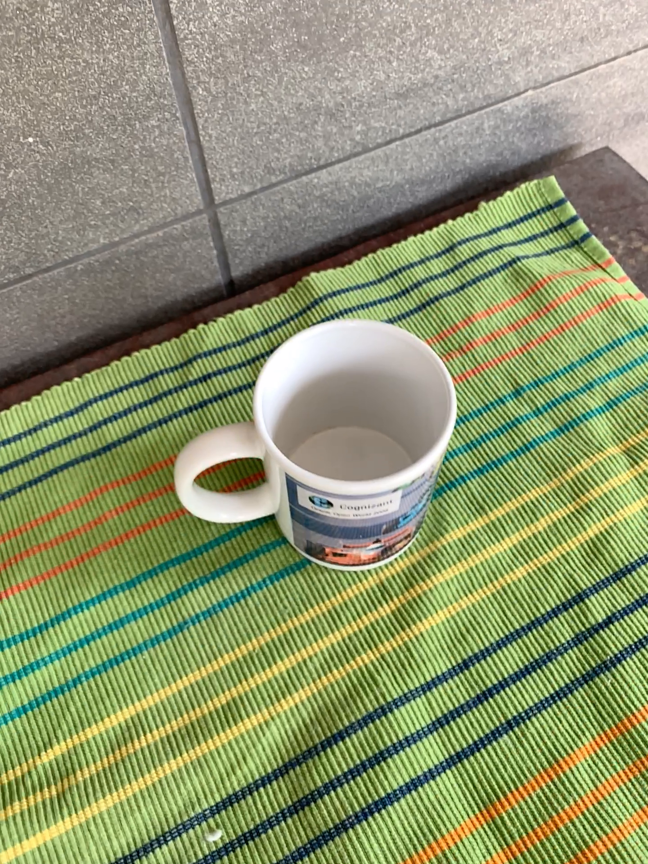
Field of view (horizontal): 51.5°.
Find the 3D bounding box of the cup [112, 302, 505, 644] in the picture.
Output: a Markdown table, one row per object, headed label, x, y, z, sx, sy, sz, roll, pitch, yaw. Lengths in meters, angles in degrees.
| label | x | y | z | sx | sy | sz | roll | pitch | yaw |
| --- | --- | --- | --- | --- | --- | --- | --- | --- | --- |
| cup | -0.008 | 0.021 | 0.296 | 0.130 | 0.100 | 0.080 | -16 | 60 | -9 |
